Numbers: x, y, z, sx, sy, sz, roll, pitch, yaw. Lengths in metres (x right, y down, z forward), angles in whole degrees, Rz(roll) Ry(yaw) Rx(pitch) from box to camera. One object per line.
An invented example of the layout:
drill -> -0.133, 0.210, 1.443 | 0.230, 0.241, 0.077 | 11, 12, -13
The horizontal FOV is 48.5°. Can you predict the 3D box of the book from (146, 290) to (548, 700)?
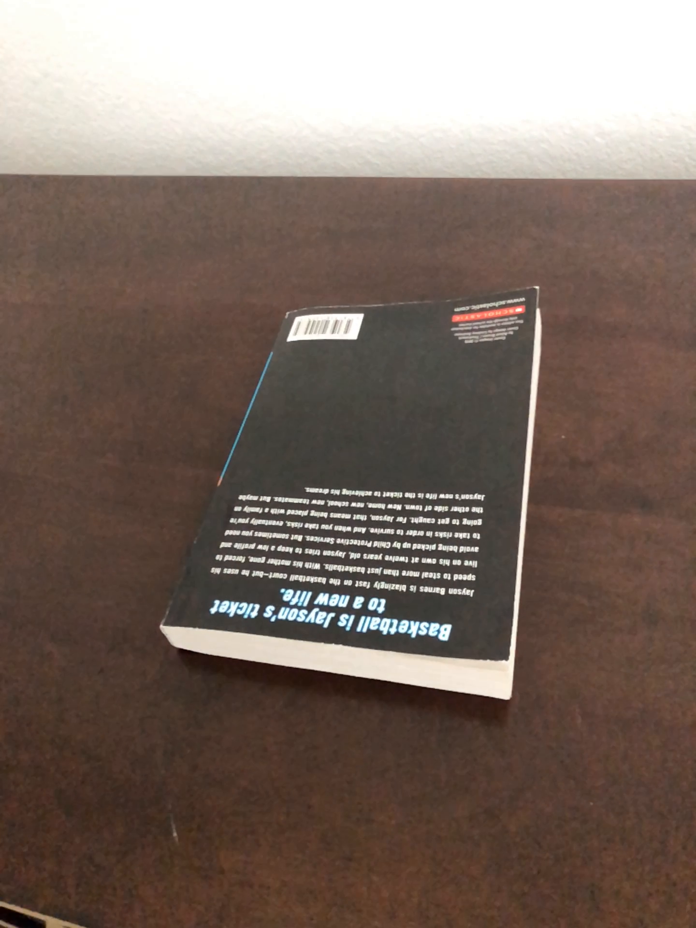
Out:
book -> 0.014, -0.002, 0.354 | 0.140, 0.036, 0.199 | 2, 49, 17
